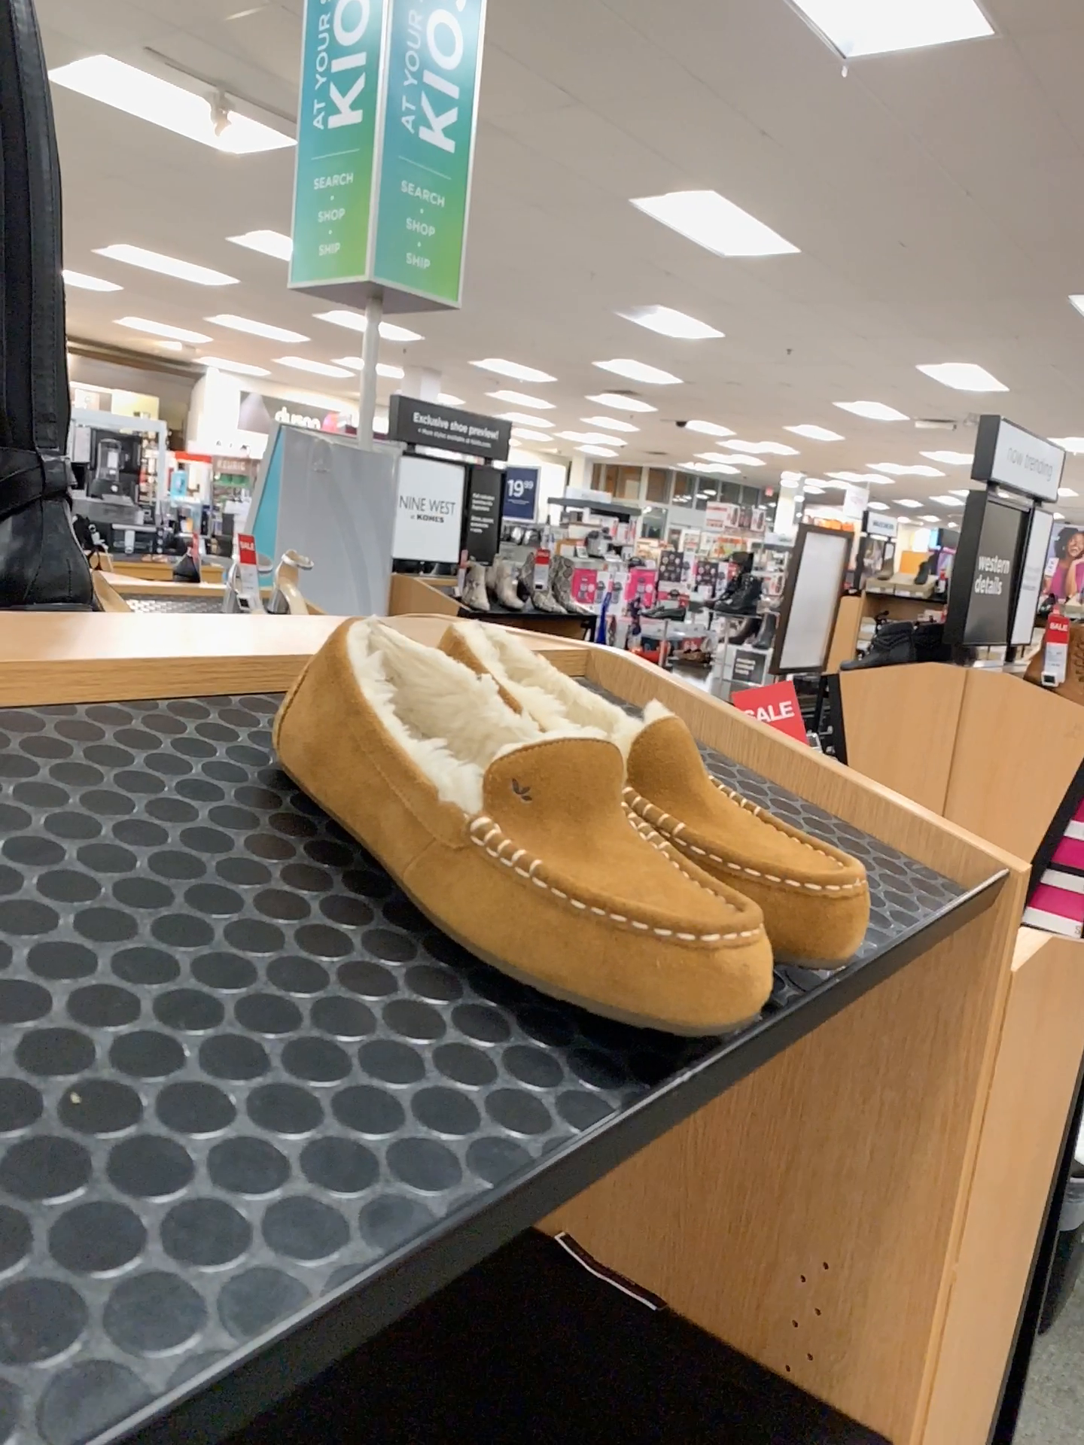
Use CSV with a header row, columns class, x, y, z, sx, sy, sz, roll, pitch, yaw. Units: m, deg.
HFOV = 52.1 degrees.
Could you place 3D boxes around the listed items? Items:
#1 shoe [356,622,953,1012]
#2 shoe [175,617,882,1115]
class,x,y,z,sx,sy,sz,roll,pitch,yaw
shoe,0.039,0.025,0.493,0.251,0.060,0.090,27,19,34
shoe,-0.020,0.032,0.425,0.271,0.060,0.090,27,19,34
